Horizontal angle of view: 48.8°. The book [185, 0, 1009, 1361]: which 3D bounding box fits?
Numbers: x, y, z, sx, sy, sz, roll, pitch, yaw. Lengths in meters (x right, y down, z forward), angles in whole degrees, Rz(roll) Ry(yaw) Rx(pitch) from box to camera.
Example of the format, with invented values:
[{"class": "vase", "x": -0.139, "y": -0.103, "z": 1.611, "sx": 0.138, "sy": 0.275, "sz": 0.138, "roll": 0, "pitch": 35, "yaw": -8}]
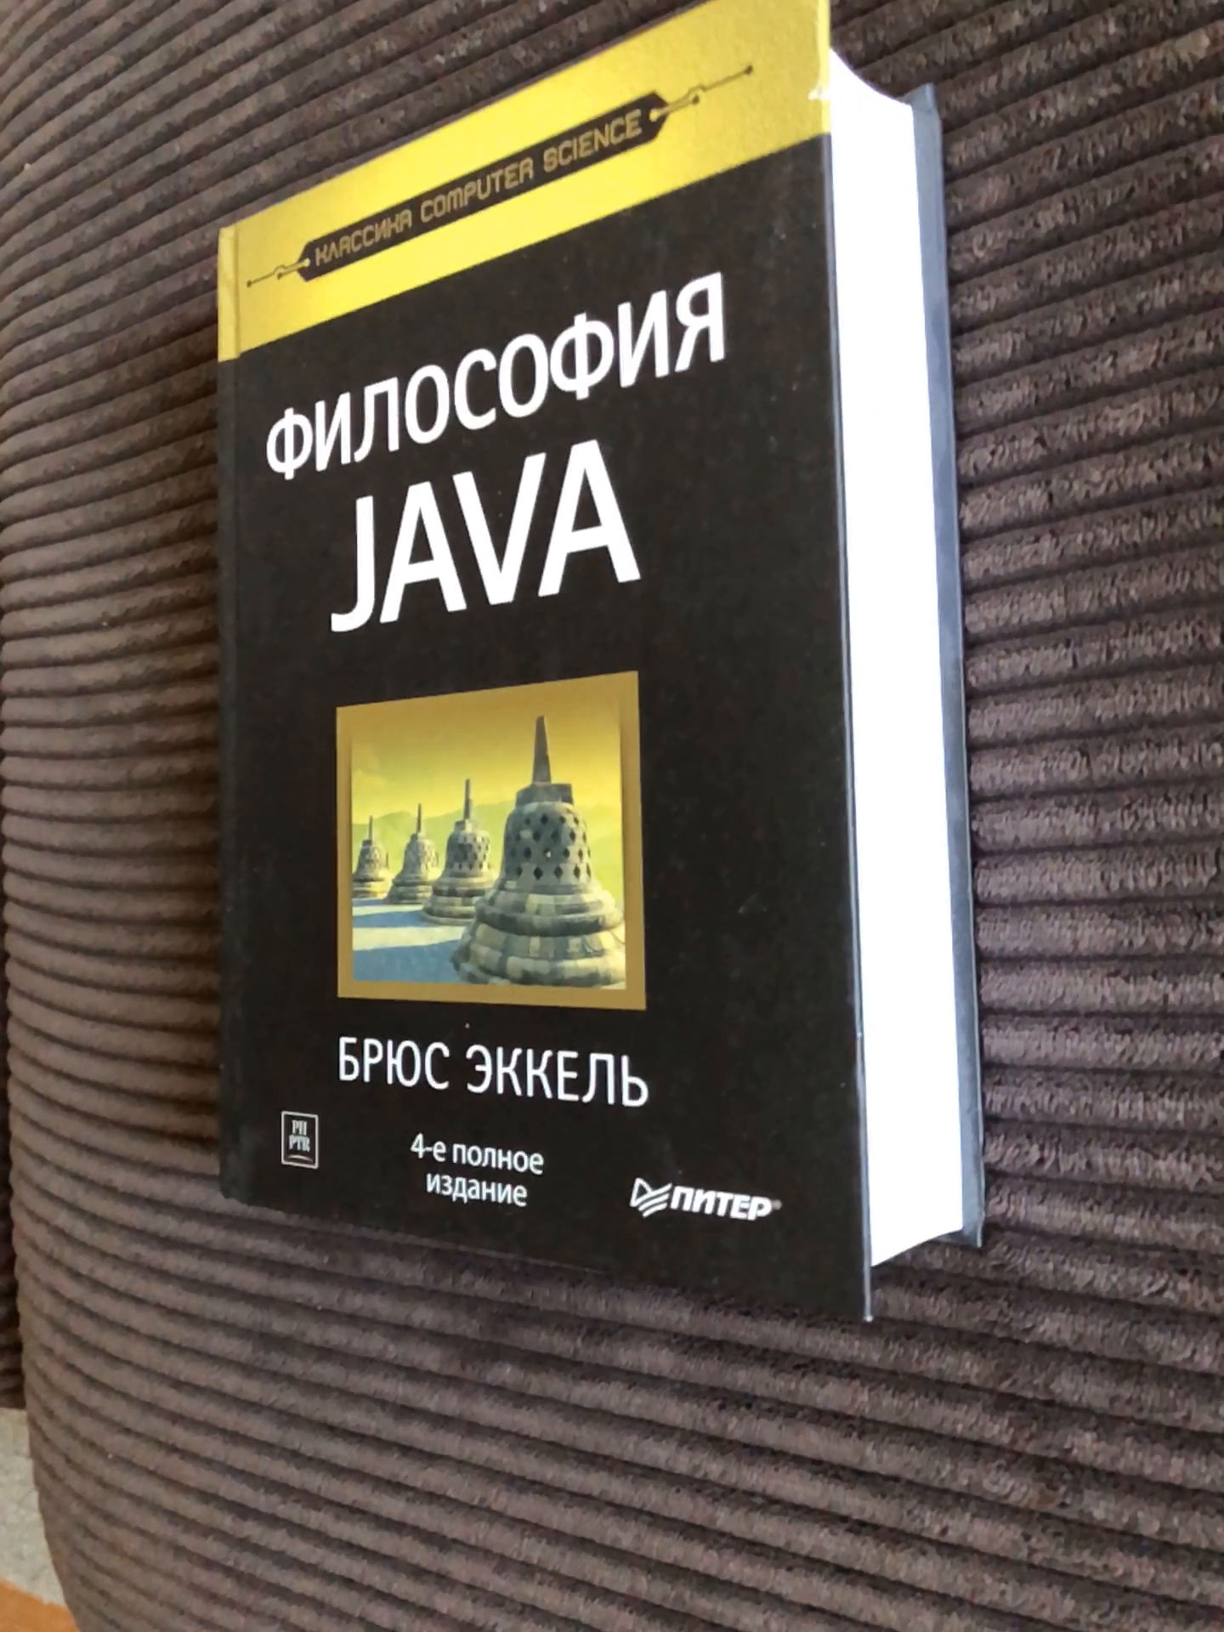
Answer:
[{"class": "book", "x": -0.012, "y": -0.027, "z": 0.296, "sx": 0.172, "sy": 0.060, "sz": 0.239, "roll": -3, "pitch": 87, "yaw": 35}]
